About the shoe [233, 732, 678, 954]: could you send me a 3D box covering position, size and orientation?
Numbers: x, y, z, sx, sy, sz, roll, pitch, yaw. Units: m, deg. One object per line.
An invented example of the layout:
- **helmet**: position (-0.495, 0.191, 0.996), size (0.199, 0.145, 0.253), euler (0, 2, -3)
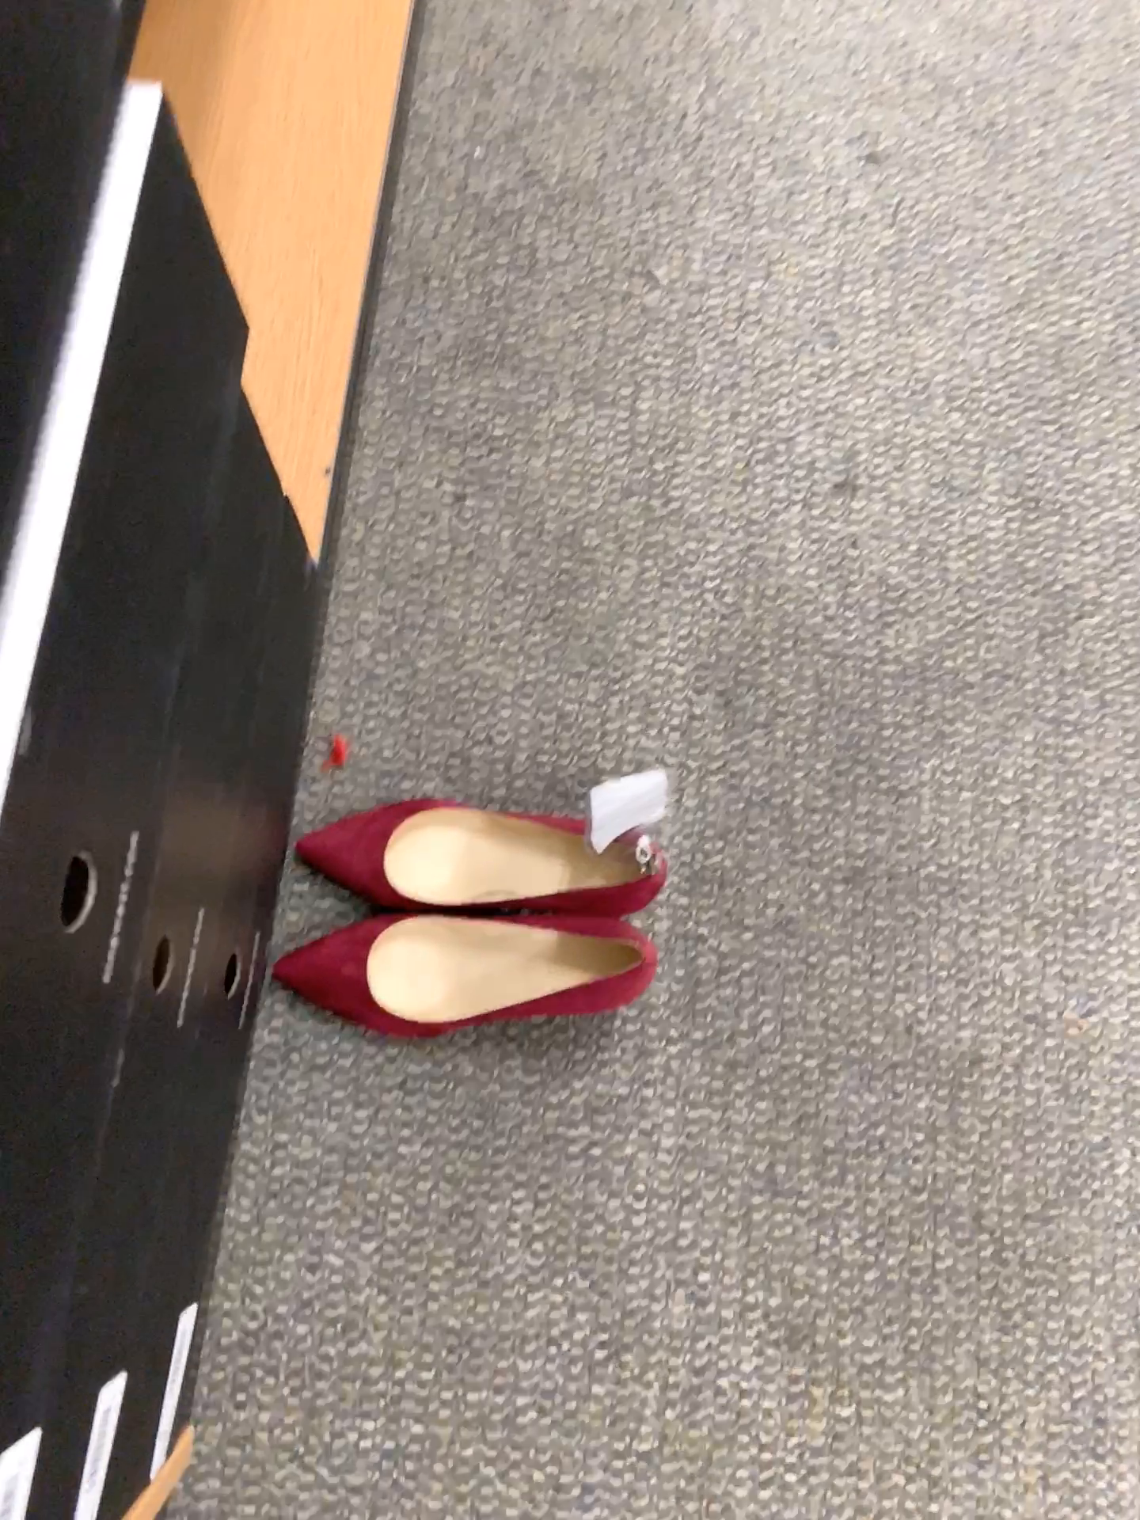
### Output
- **shoe**: position (-0.073, 0.065, 0.770), size (0.250, 0.200, 0.090), euler (6, 75, -4)

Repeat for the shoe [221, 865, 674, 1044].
- **shoe**: position (-0.074, 0.134, 0.747), size (0.250, 0.200, 0.090), euler (3, 76, -5)
